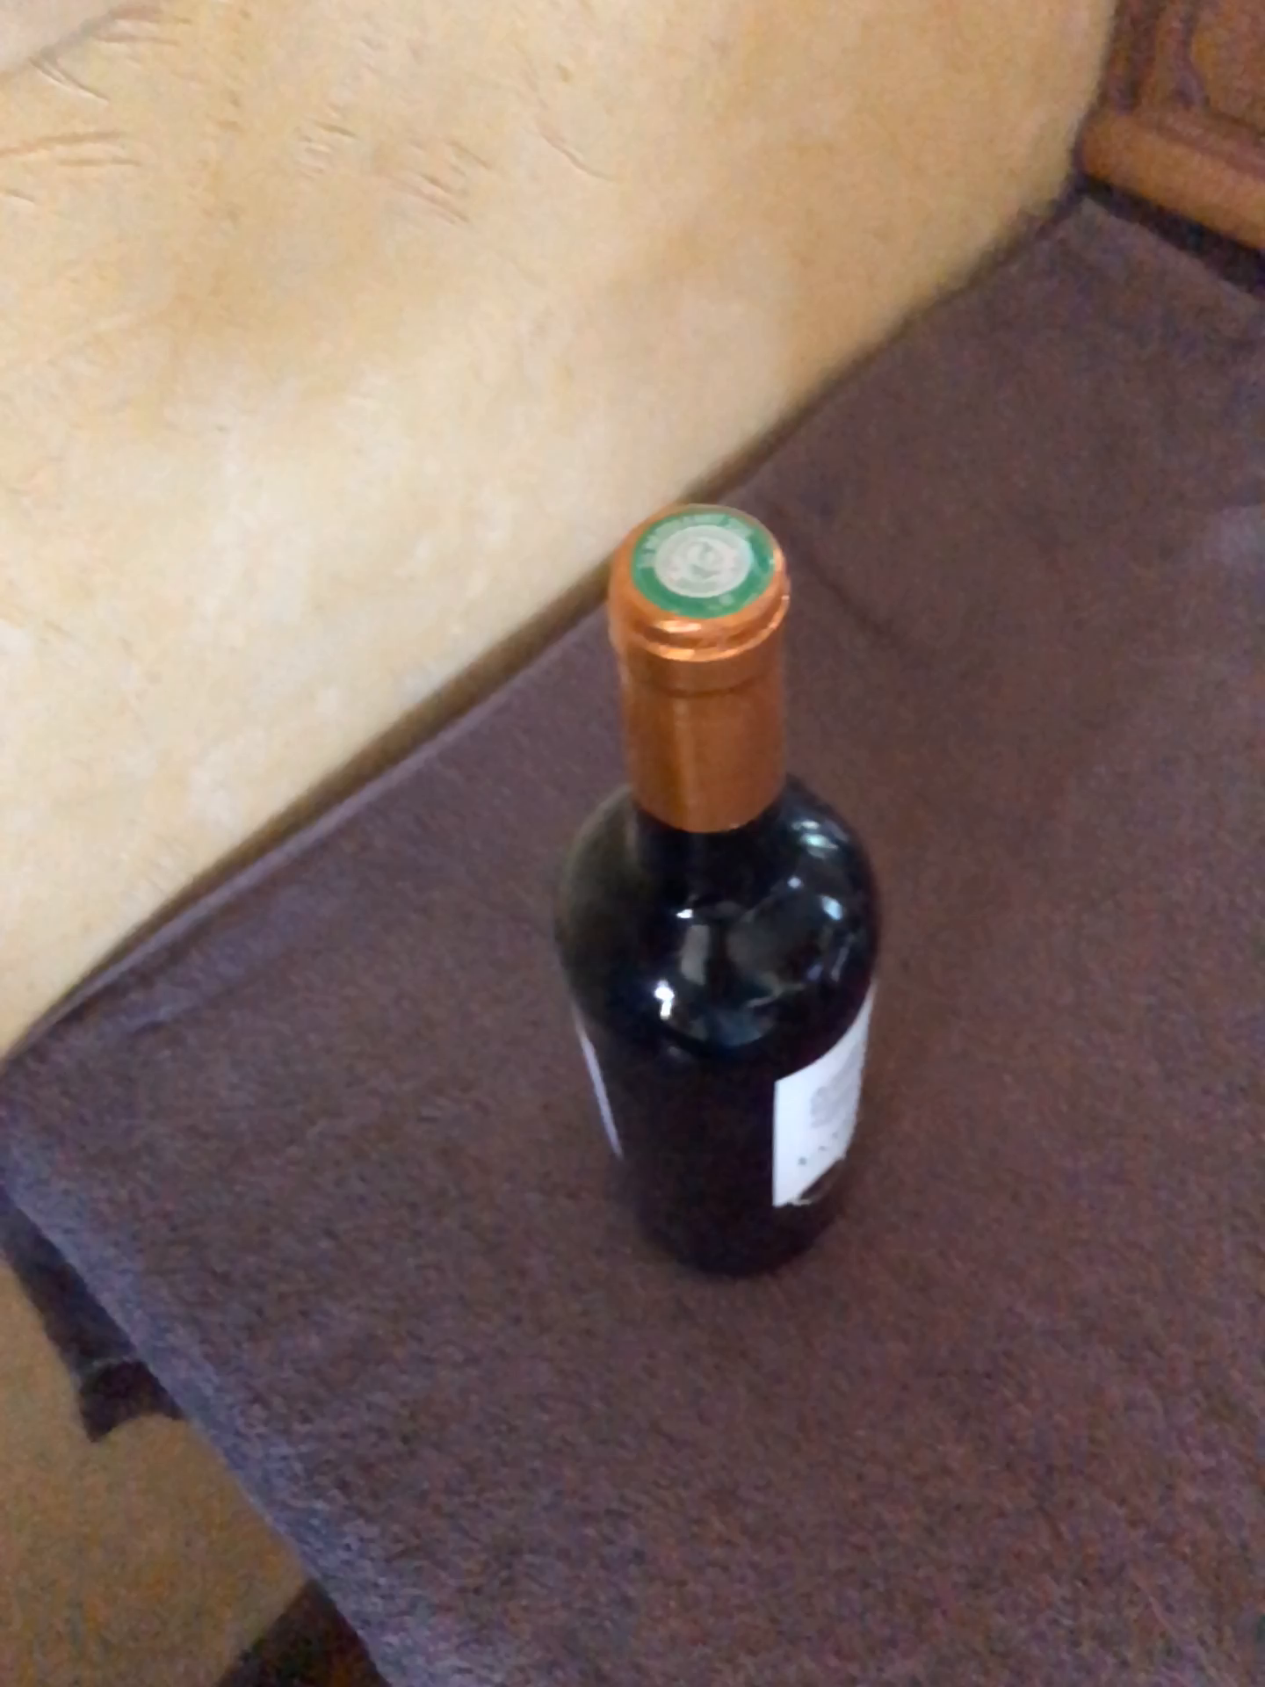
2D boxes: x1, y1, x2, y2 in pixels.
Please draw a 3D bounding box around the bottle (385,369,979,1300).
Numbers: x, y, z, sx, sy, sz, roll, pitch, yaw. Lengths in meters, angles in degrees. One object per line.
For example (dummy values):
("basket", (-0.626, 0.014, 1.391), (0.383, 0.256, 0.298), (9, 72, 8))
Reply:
("bottle", (0.022, 0.031, 0.350), (0.080, 0.299, 0.080), (-2, 59, 4))
